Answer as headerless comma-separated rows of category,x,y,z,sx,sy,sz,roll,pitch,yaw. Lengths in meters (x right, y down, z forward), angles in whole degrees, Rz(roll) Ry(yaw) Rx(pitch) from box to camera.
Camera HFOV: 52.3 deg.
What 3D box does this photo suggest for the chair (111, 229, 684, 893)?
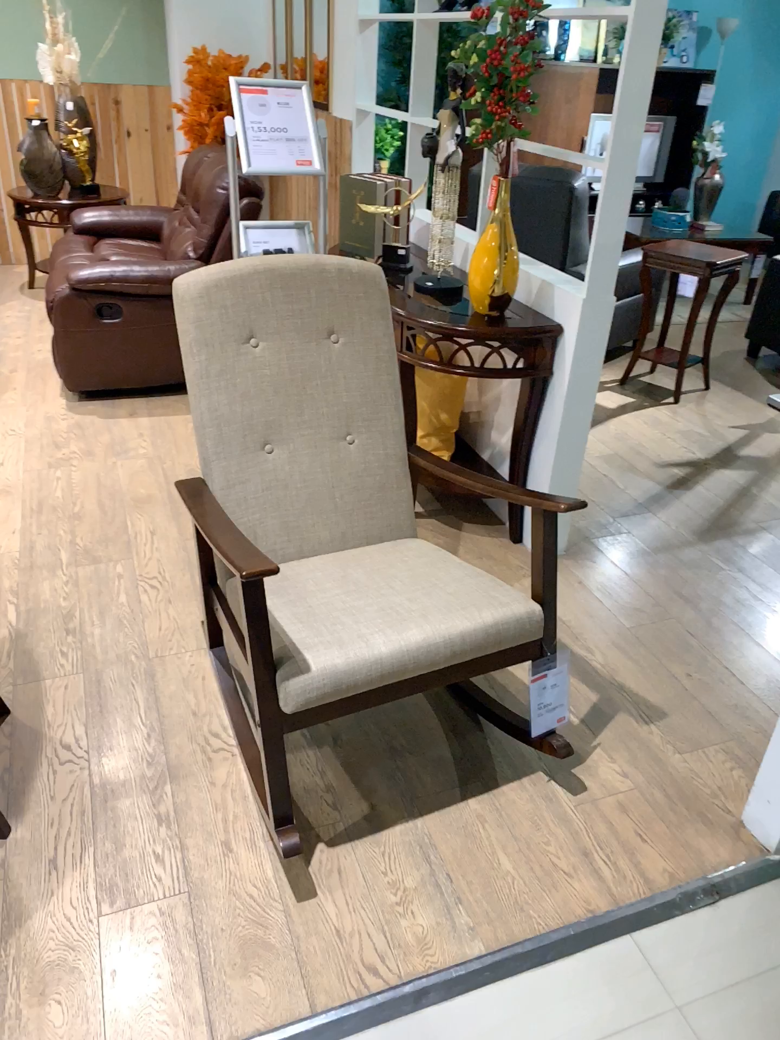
chair,-0.071,-0.011,1.679,0.731,0.976,0.843,-12,33,-25
